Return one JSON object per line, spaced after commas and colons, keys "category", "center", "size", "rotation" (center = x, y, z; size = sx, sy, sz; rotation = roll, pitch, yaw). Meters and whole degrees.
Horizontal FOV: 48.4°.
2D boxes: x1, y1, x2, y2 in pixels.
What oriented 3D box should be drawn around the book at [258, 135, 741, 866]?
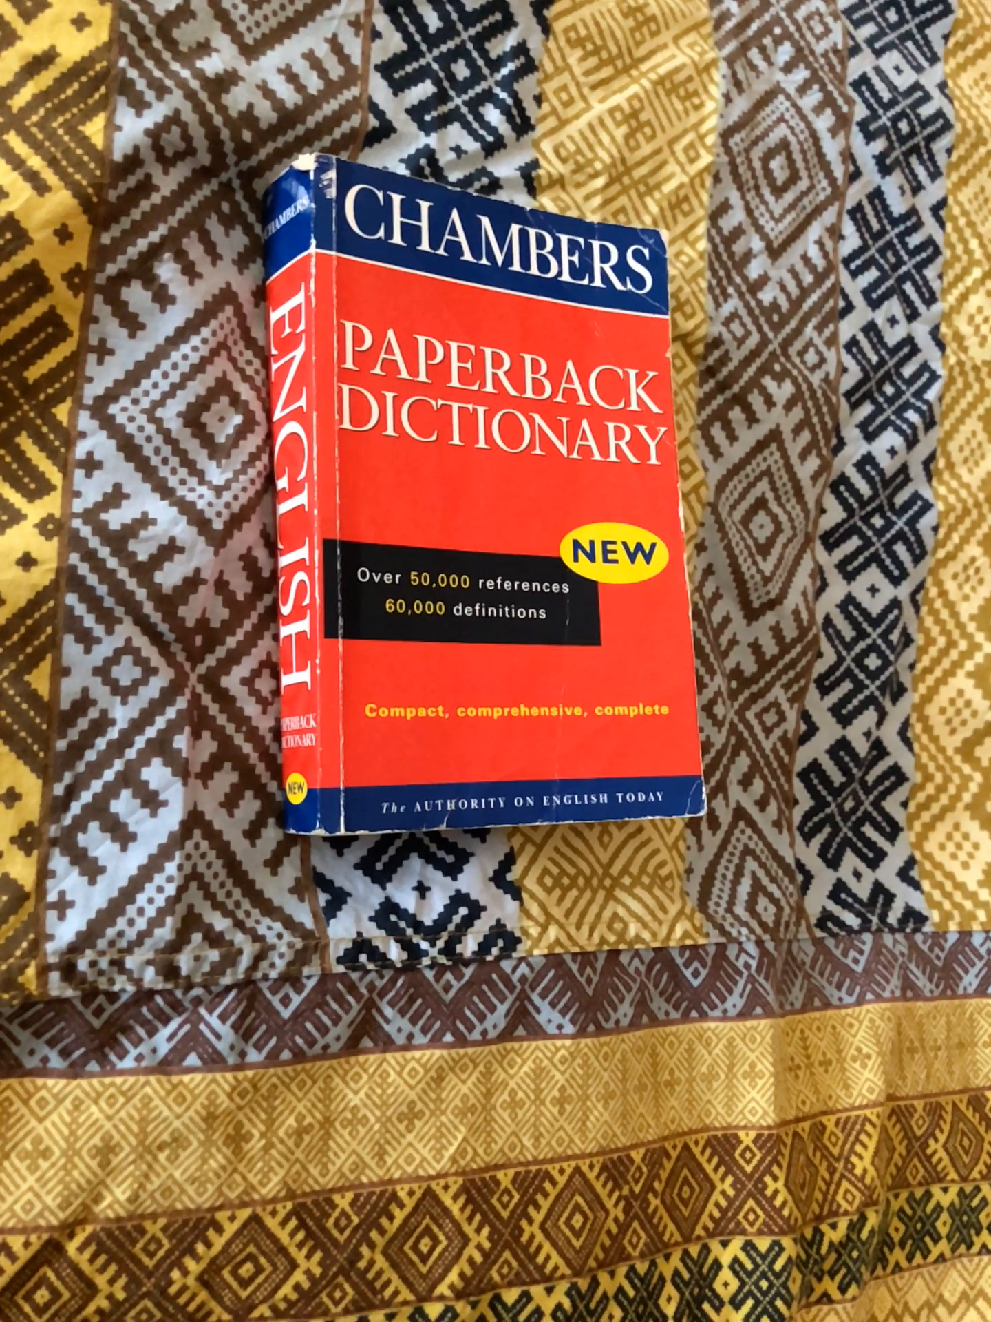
{"category": "book", "center": [0.002, -0.036, 0.294], "size": [0.117, 0.044, 0.165], "rotation": [0, 87, -28]}
